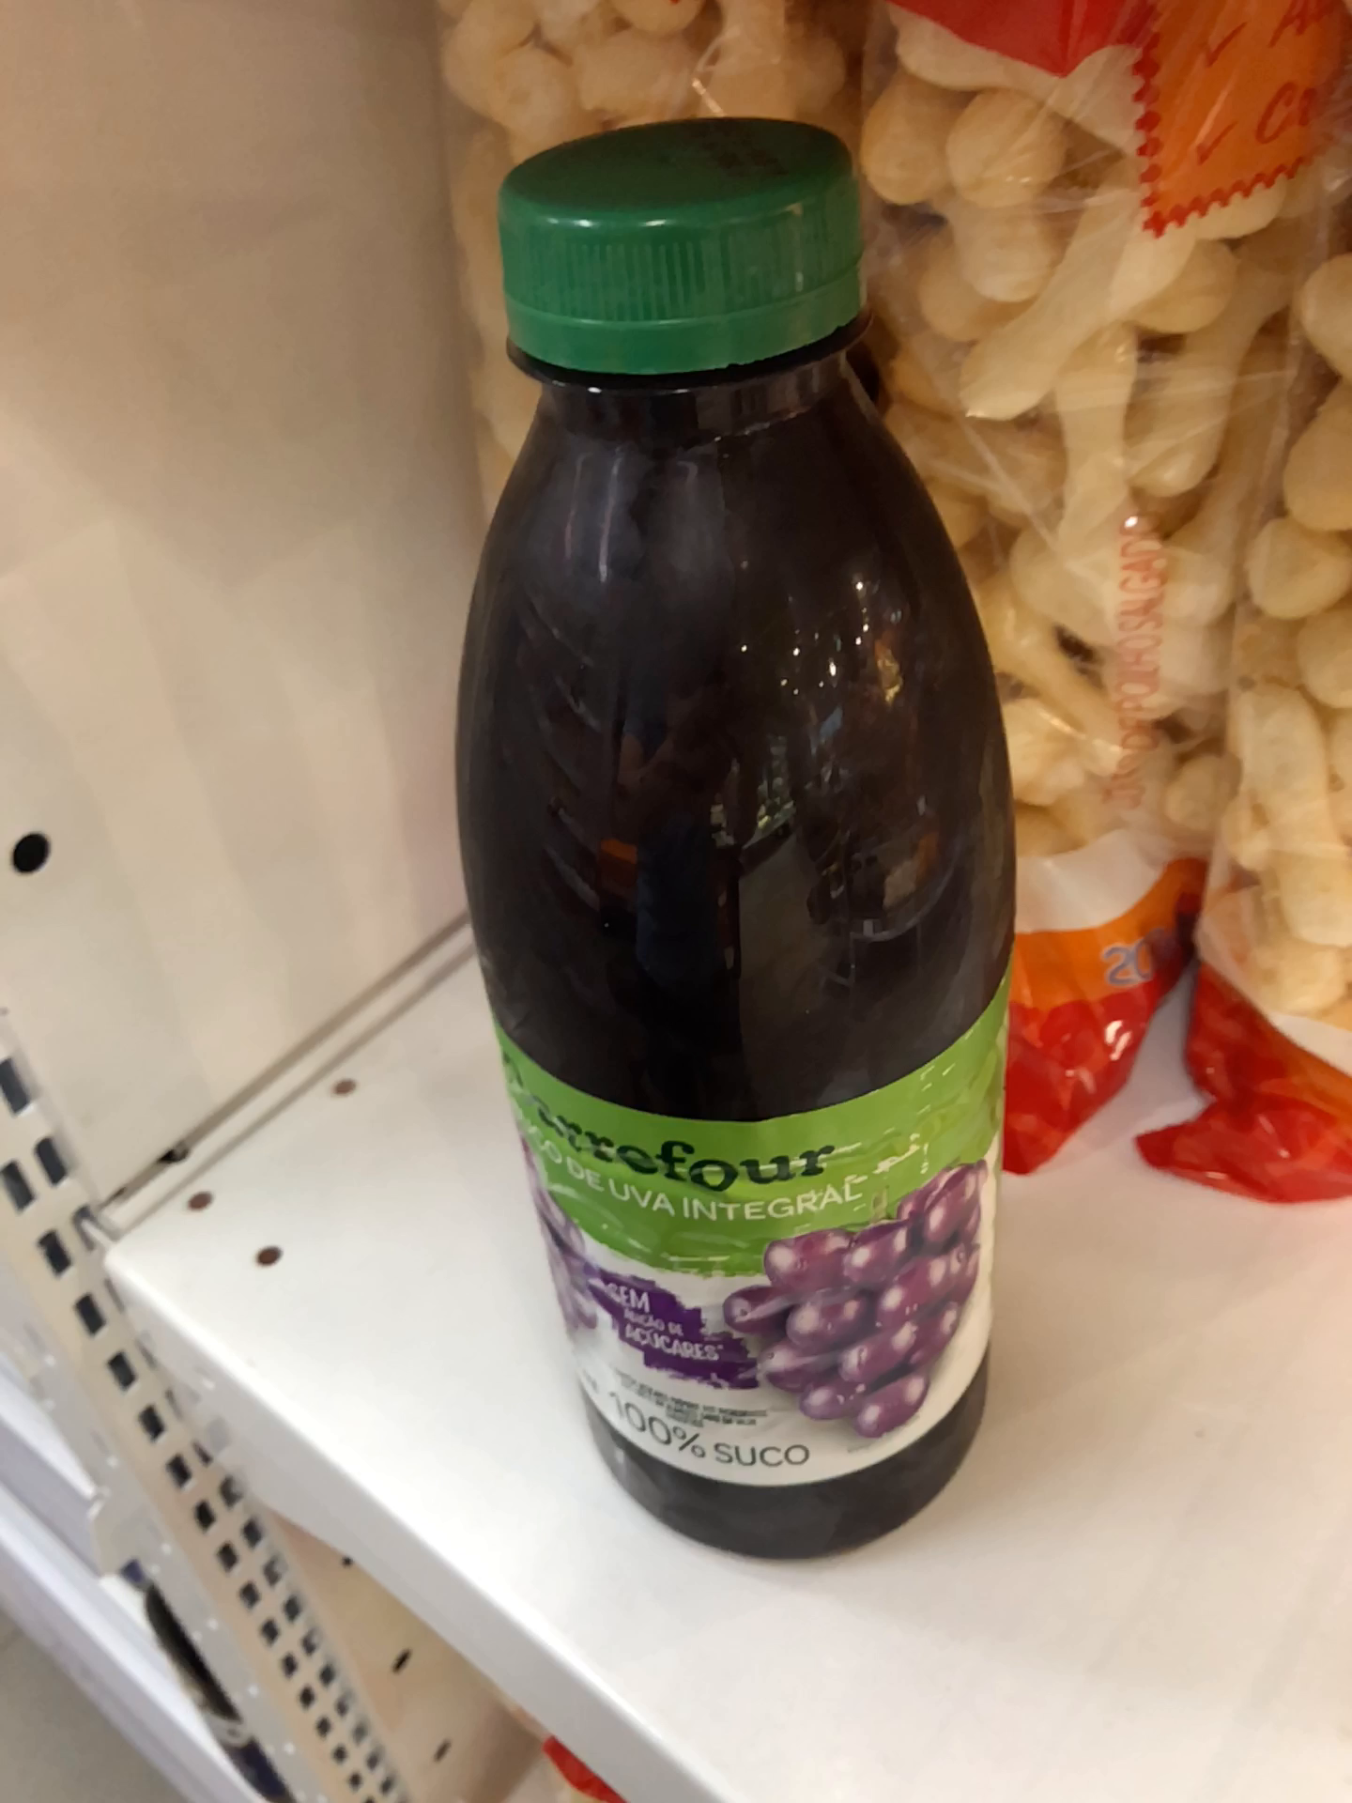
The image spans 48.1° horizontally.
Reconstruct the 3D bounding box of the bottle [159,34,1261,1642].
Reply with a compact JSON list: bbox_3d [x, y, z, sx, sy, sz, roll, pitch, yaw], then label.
[{"bbox_3d":[0.016,0.008,0.229,0.090,0.228,0.081,11,44,18],"label":"bottle"}]
